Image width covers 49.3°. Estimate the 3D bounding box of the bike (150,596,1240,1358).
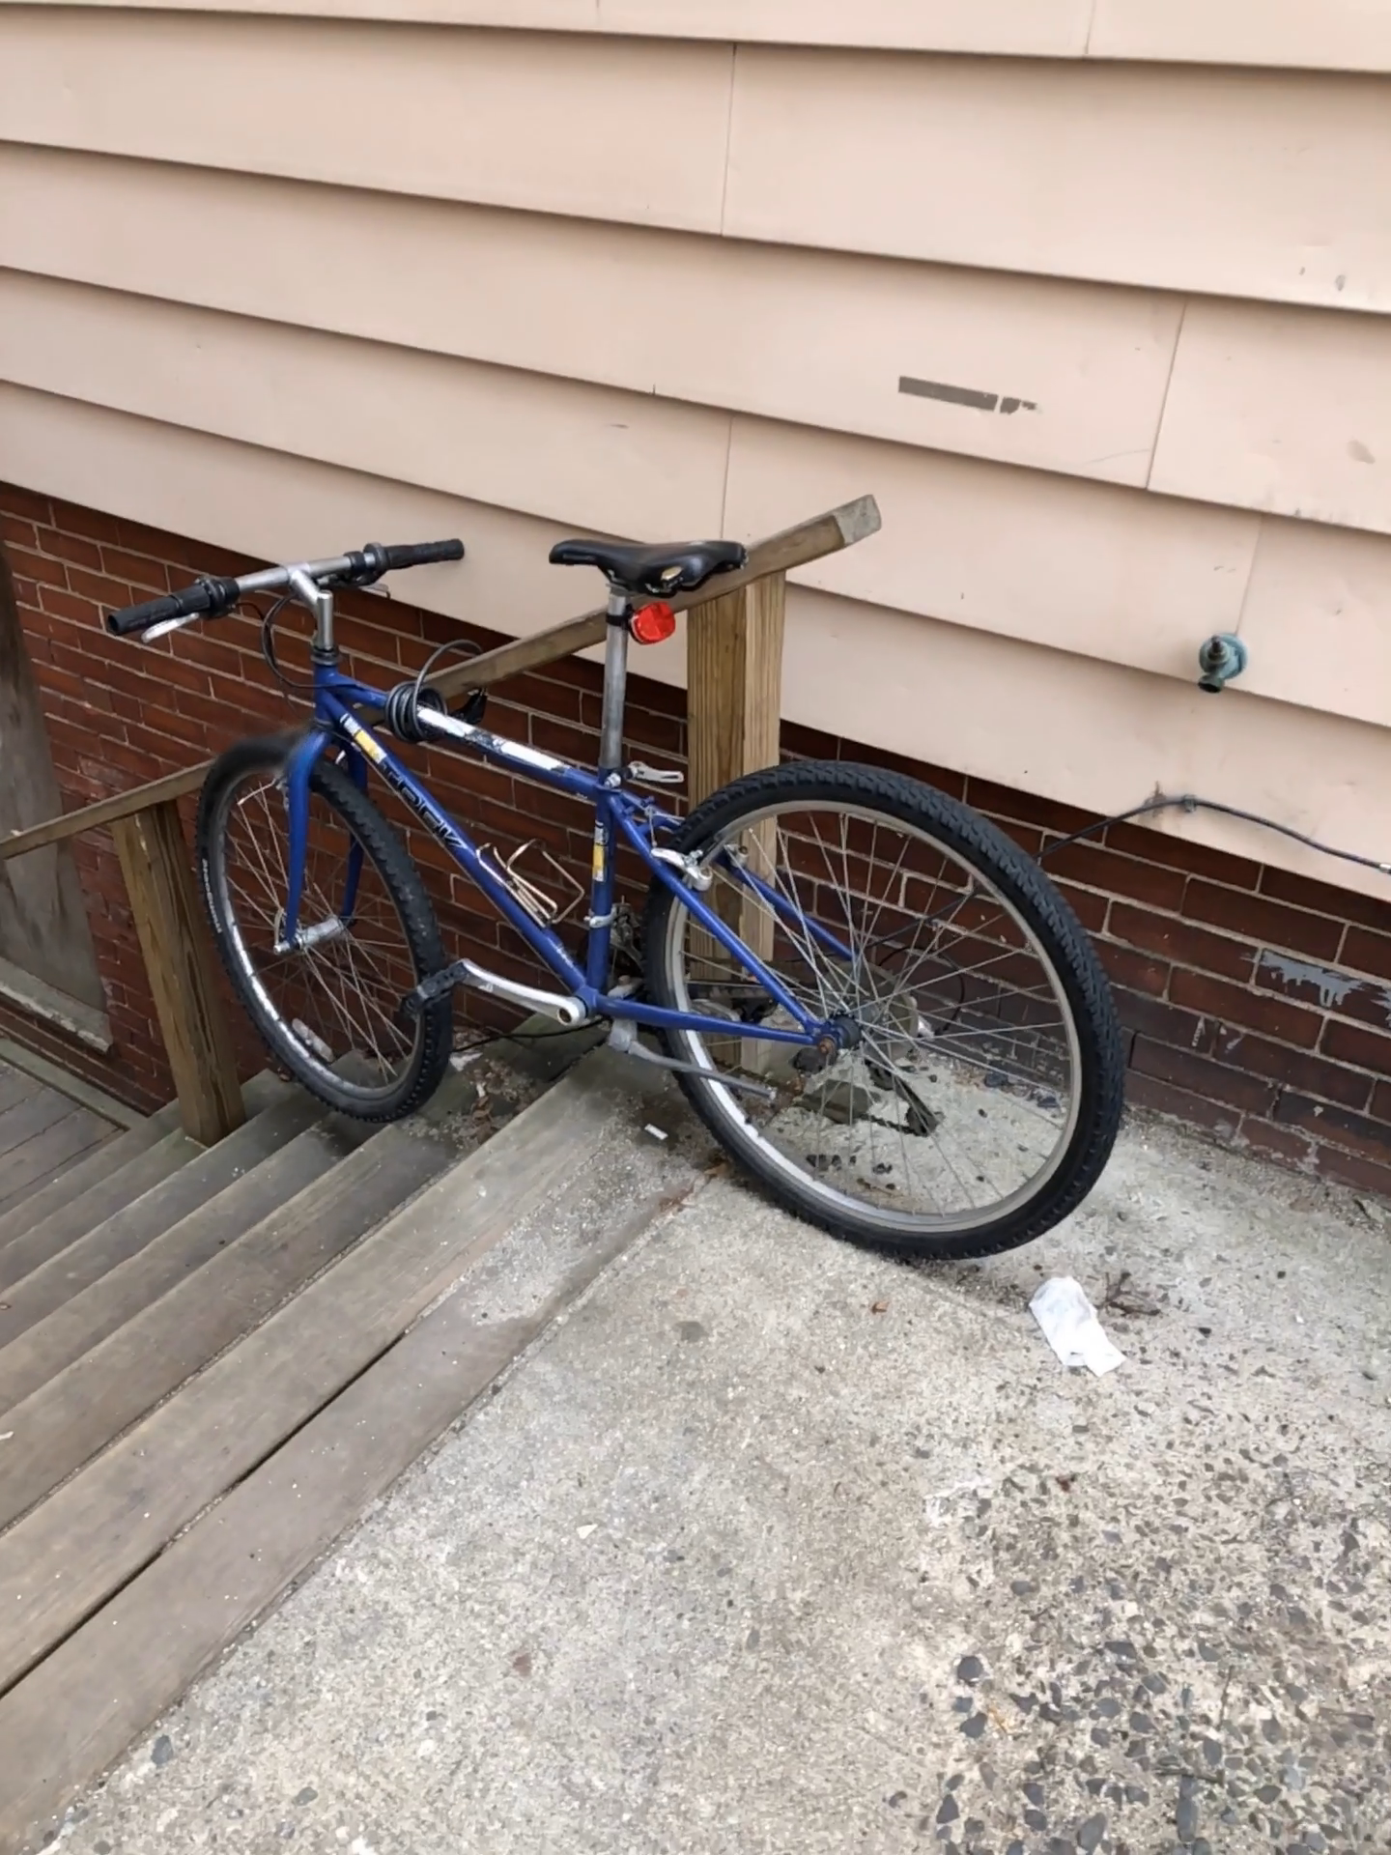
[{"bbox_3d":[-0.085,-0.054,2.158,1.521,0.619,0.535,13,33,34],"label":"bike"}]
